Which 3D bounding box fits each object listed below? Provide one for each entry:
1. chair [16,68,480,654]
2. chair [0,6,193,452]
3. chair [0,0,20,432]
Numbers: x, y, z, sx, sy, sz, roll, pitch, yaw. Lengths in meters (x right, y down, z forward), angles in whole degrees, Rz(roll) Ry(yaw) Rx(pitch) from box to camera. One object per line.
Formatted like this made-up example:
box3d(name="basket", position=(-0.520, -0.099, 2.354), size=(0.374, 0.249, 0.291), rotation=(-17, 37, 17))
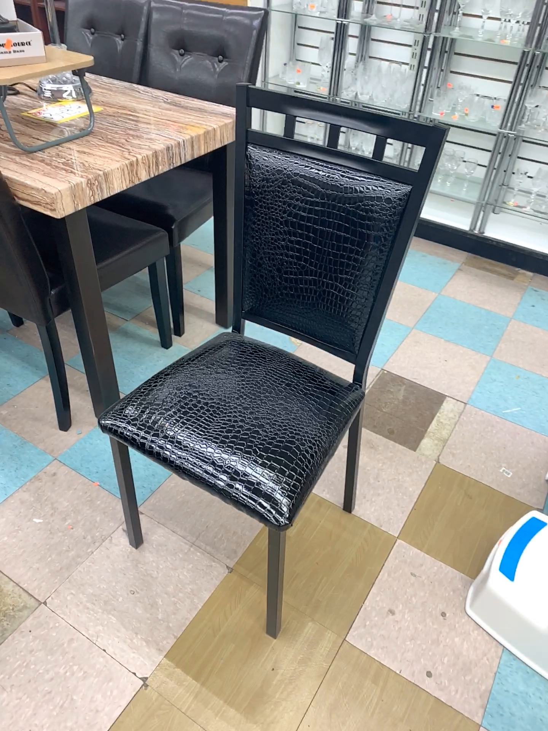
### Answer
box3d(name="chair", position=(-0.023, 0.016, 1.104), size=(0.462, 0.943, 0.506), rotation=(24, 45, 23))
box3d(name="chair", position=(-0.639, -0.371, 1.517), size=(0.532, 0.923, 0.597), rotation=(22, 44, 21))
box3d(name="chair", position=(-1.377, -0.487, 1.686), size=(0.562, 1.072, 0.677), rotation=(22, 44, 21))
